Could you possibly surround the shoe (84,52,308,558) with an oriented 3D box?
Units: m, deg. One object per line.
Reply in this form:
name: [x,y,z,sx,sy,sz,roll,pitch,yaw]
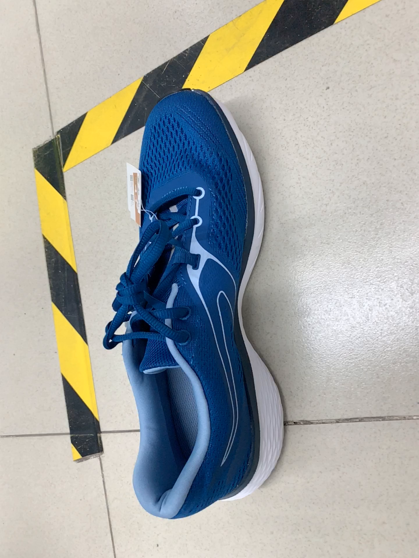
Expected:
shoe: [-0.015,0.019,0.292,0.110,0.070,0.290,-10,79,32]
